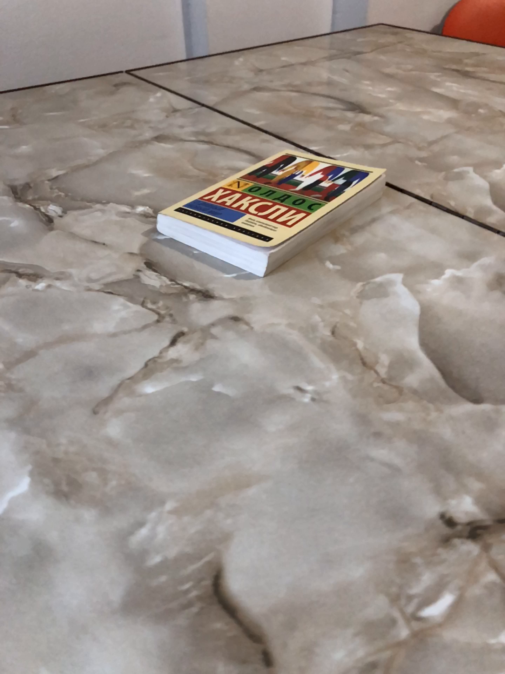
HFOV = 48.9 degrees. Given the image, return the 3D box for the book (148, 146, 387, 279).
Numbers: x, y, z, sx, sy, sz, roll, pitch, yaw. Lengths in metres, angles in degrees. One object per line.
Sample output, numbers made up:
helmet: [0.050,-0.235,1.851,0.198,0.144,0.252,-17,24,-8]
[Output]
book: [0.019,-0.118,0.486,0.120,0.020,0.185,25,45,29]
